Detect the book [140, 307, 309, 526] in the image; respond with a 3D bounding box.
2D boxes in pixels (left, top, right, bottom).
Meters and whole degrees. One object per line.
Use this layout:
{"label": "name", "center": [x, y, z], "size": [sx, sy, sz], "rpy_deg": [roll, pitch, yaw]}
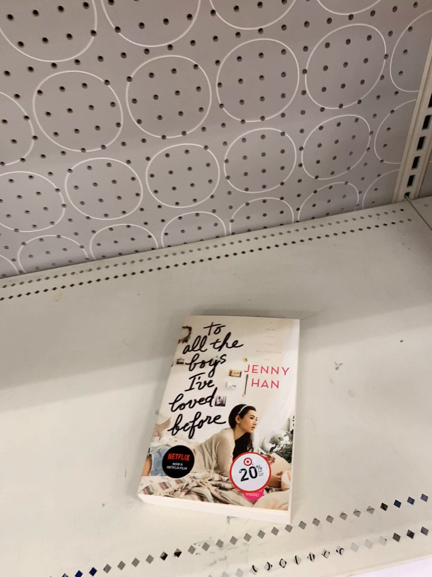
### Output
{"label": "book", "center": [0.021, 0.117, 0.466], "size": [0.144, 0.034, 0.214], "rpy_deg": [3, 49, 10]}
